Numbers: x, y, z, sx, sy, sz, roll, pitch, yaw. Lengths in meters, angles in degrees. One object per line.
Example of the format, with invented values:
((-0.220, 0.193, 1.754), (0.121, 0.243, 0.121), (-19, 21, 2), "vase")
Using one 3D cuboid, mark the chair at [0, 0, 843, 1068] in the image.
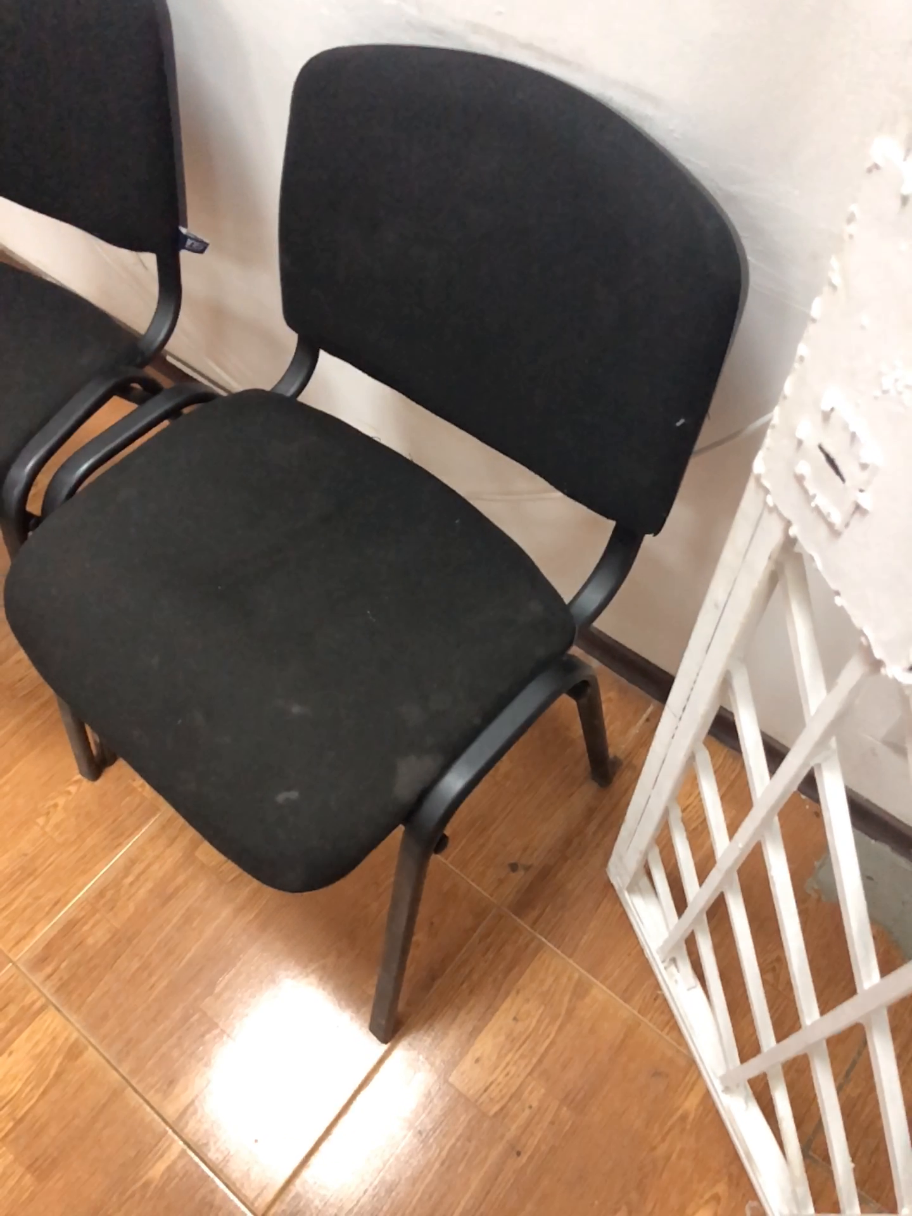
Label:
((-0.122, -0.031, 0.906), (0.520, 0.748, 0.511), (35, 65, 21), "chair")
